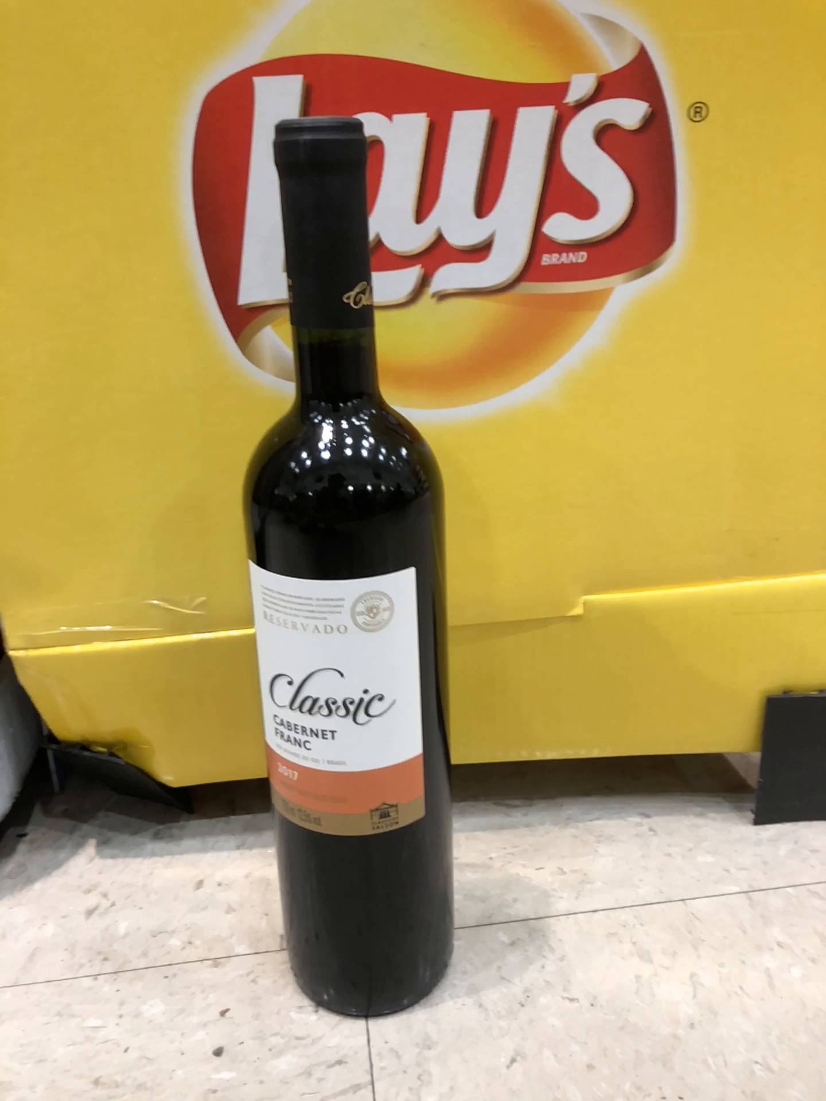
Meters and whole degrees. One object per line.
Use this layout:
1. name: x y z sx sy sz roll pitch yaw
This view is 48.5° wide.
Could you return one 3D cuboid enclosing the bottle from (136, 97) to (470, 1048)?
1. bottle: -0.025 0.023 0.319 0.070 0.318 0.060 4 22 17
